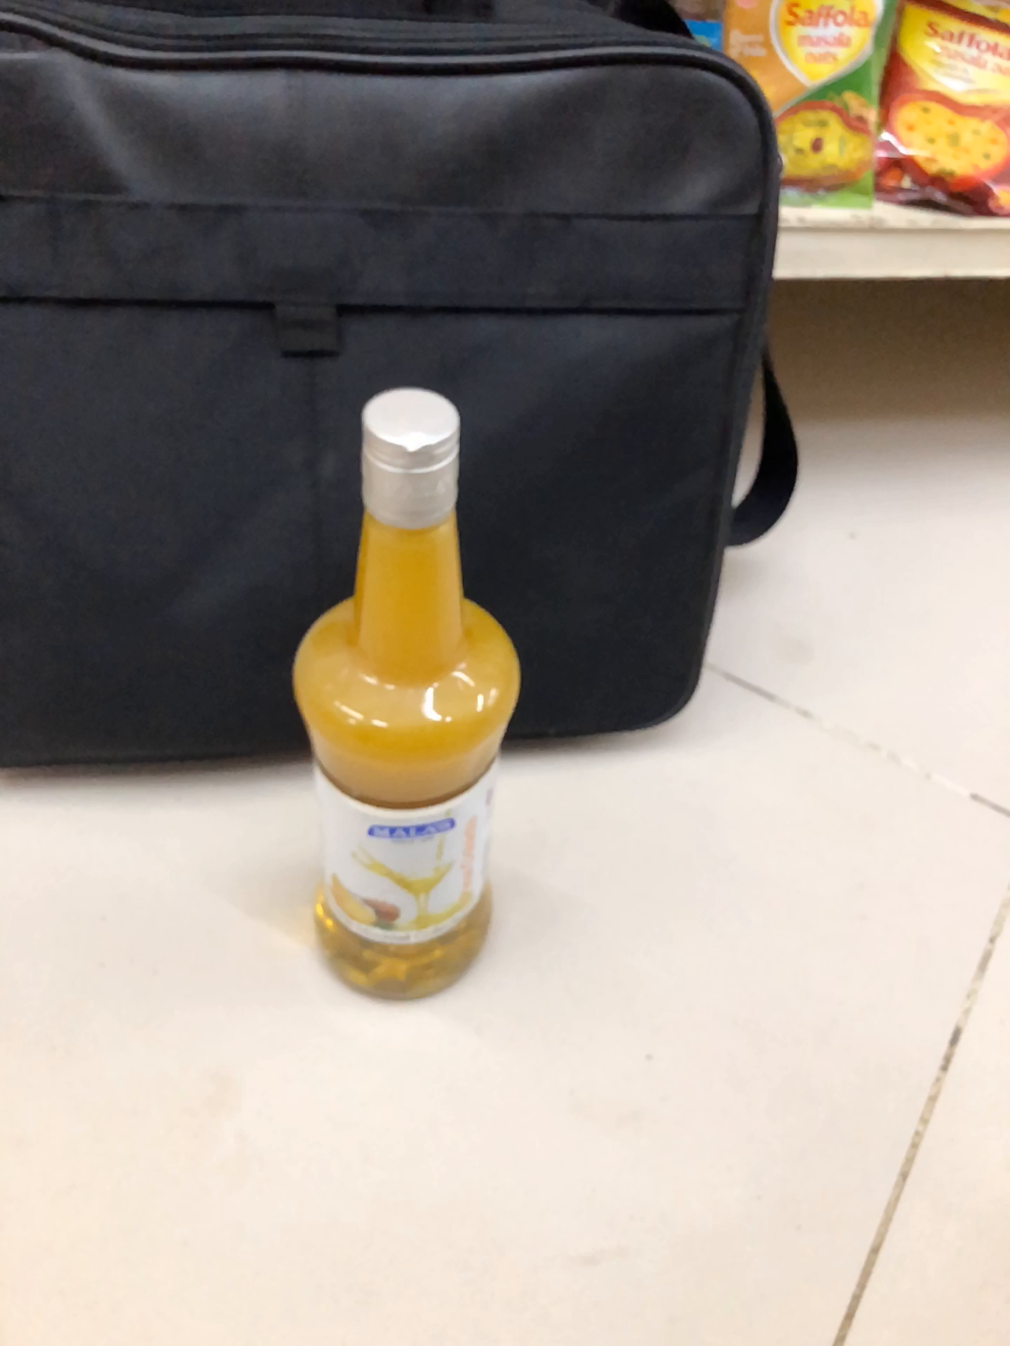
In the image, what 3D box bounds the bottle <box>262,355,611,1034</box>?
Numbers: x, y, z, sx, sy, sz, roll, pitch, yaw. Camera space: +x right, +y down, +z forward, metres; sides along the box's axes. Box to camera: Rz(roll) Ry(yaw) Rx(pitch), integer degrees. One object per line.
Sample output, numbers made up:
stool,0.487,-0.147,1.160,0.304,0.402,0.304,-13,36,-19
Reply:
bottle,-0.034,0.028,0.442,0.090,0.288,0.080,-7,47,-13
